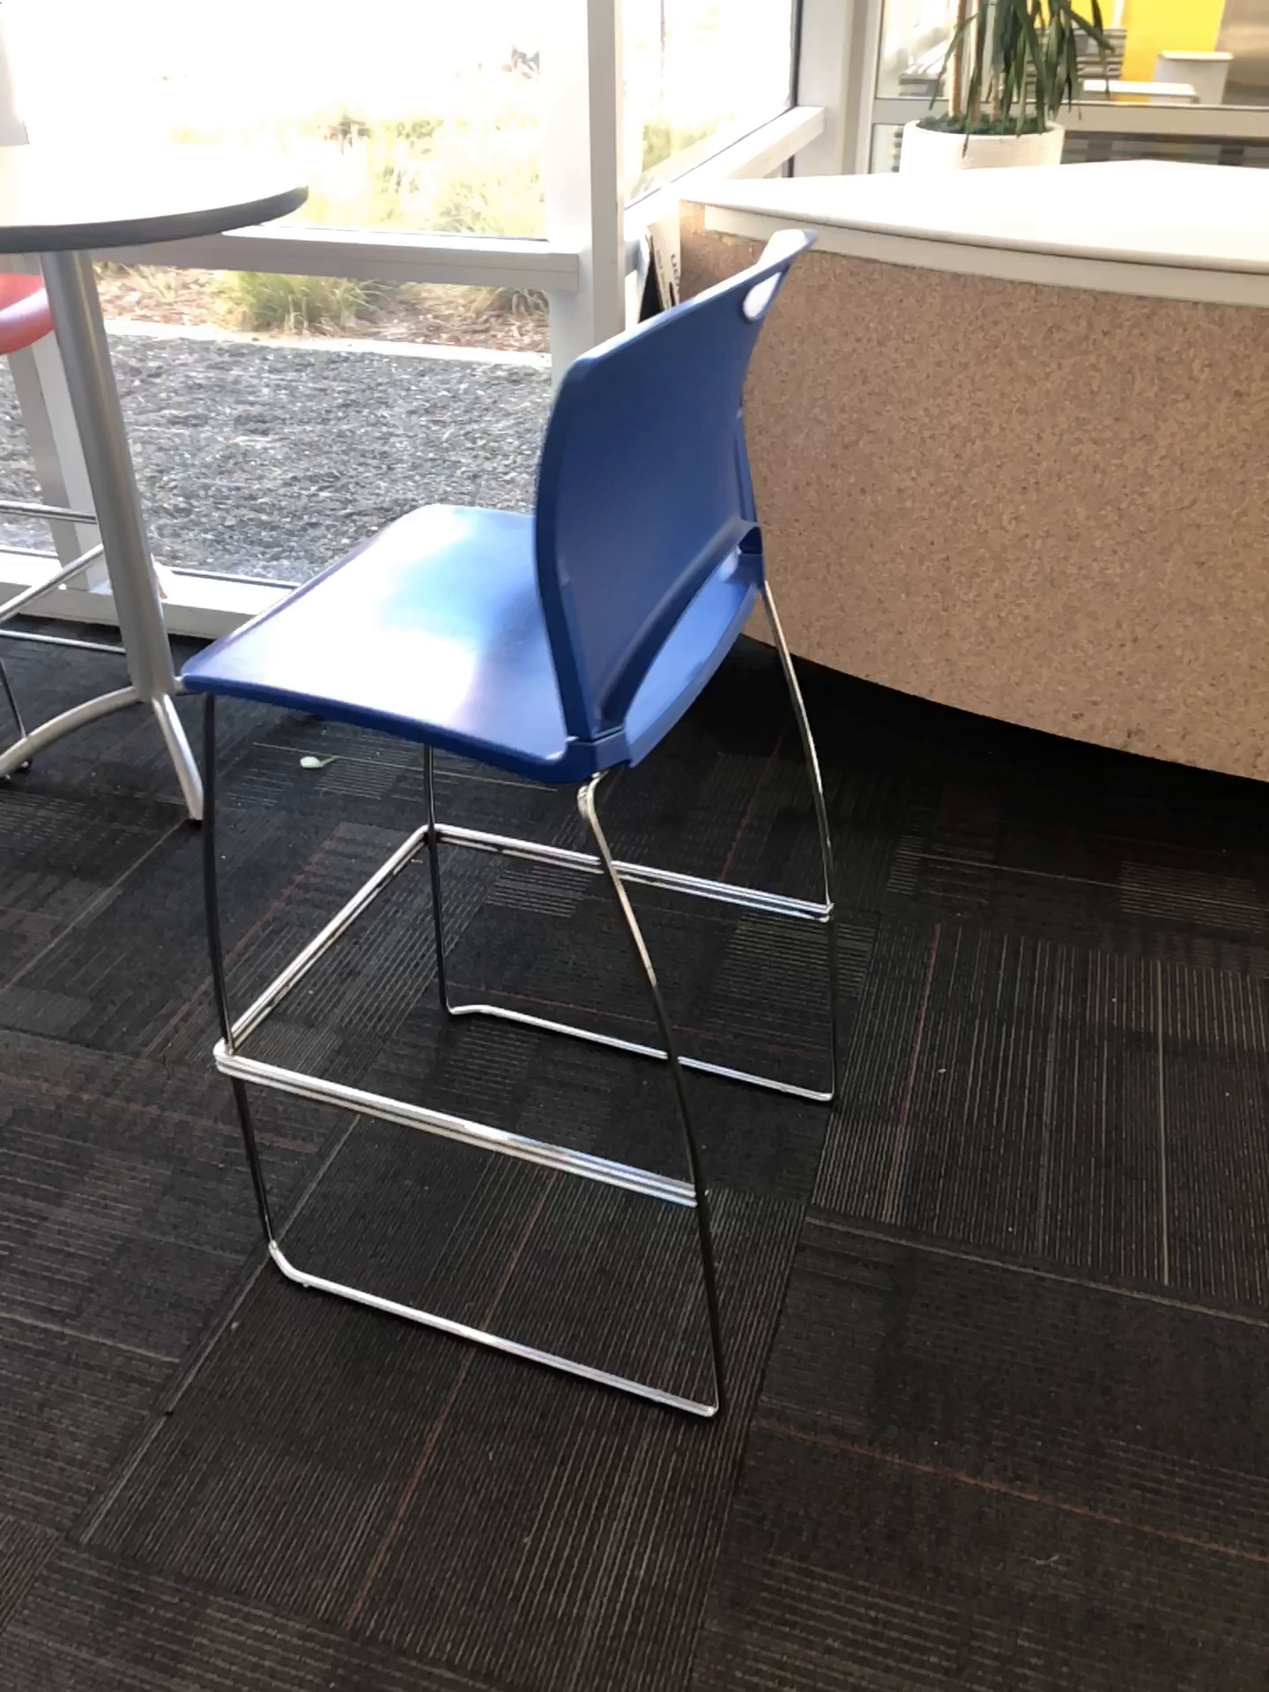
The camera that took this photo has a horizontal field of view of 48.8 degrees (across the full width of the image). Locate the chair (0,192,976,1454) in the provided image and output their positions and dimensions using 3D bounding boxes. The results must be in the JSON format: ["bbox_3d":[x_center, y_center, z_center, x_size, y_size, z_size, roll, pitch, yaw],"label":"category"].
[{"bbox_3d":[-0.085,-0.047,1.338,0.611,0.965,0.552,11,34,18],"label":"chair"}]
